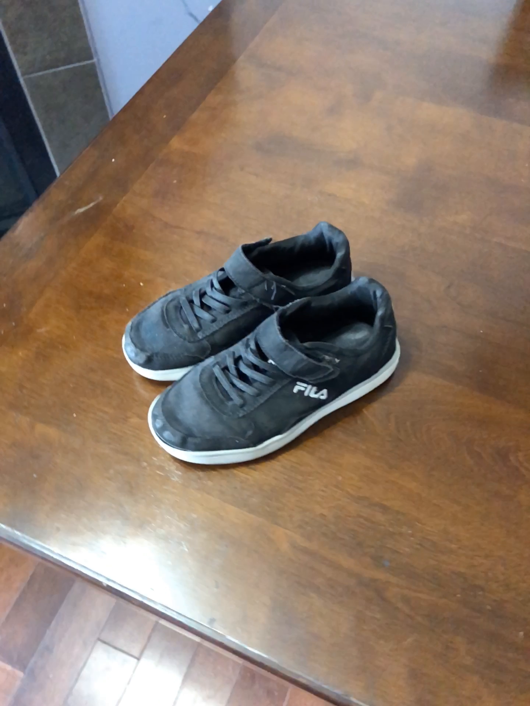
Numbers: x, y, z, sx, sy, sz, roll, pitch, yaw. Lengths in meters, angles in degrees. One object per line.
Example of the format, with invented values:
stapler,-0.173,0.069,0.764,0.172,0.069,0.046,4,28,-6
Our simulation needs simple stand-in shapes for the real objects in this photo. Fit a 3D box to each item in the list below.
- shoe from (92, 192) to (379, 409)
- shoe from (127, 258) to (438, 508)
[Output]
shoe,-0.023,-0.047,0.500,0.210,0.080,0.090,-22,59,-13
shoe,0.014,0.021,0.463,0.210,0.080,0.090,-25,60,-15
